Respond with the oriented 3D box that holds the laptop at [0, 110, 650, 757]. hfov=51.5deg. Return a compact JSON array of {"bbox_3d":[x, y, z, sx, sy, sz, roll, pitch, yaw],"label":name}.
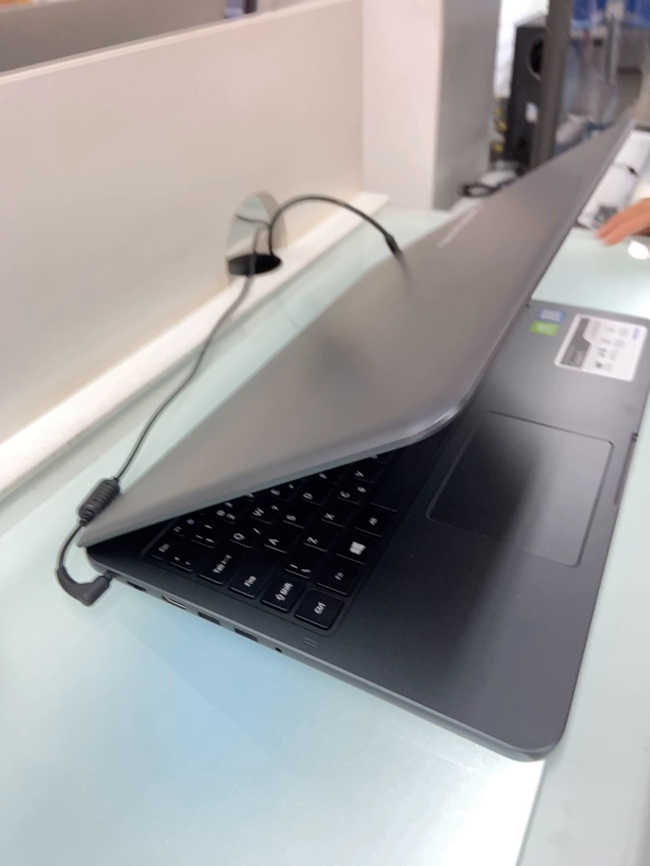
[{"bbox_3d":[0.066,-0.065,0.397,0.239,0.140,0.378,16,41,23],"label":"laptop"}]
